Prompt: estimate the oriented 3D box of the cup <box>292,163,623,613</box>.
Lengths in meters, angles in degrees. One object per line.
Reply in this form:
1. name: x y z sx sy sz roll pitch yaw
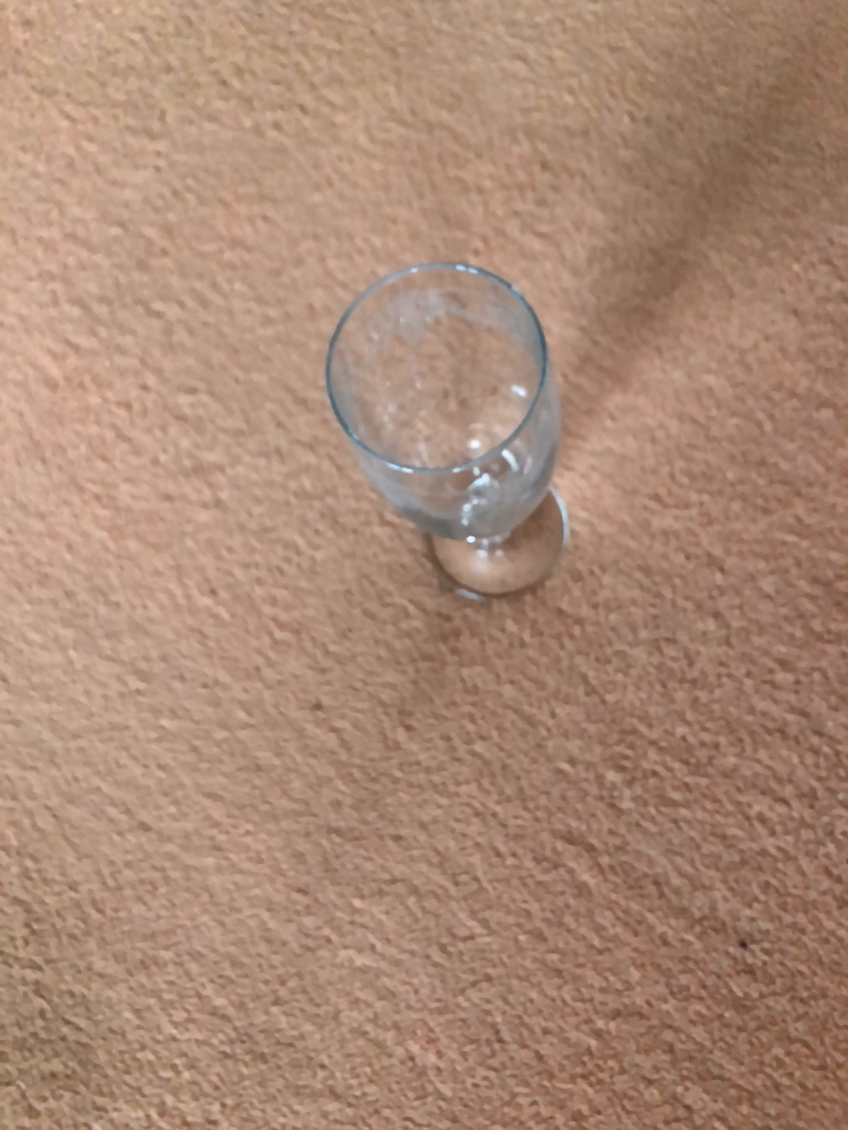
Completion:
1. cup: 0.020 -0.038 0.292 0.060 0.160 0.060 -2 76 10
